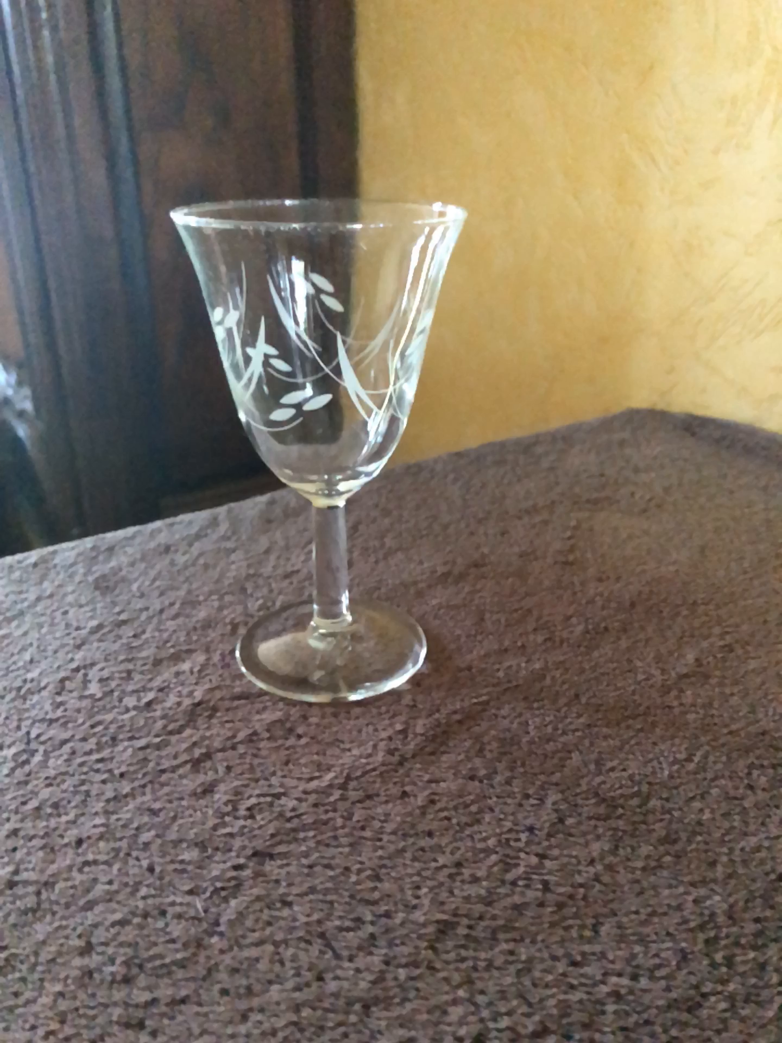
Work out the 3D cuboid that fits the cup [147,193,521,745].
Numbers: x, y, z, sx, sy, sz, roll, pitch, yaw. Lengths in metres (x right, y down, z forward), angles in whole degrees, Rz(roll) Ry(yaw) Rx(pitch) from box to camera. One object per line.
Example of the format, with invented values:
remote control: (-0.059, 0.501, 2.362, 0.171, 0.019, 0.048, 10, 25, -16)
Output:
cup: (-0.018, -0.023, 0.280, 0.090, 0.149, 0.090, -1, 23, 0)
